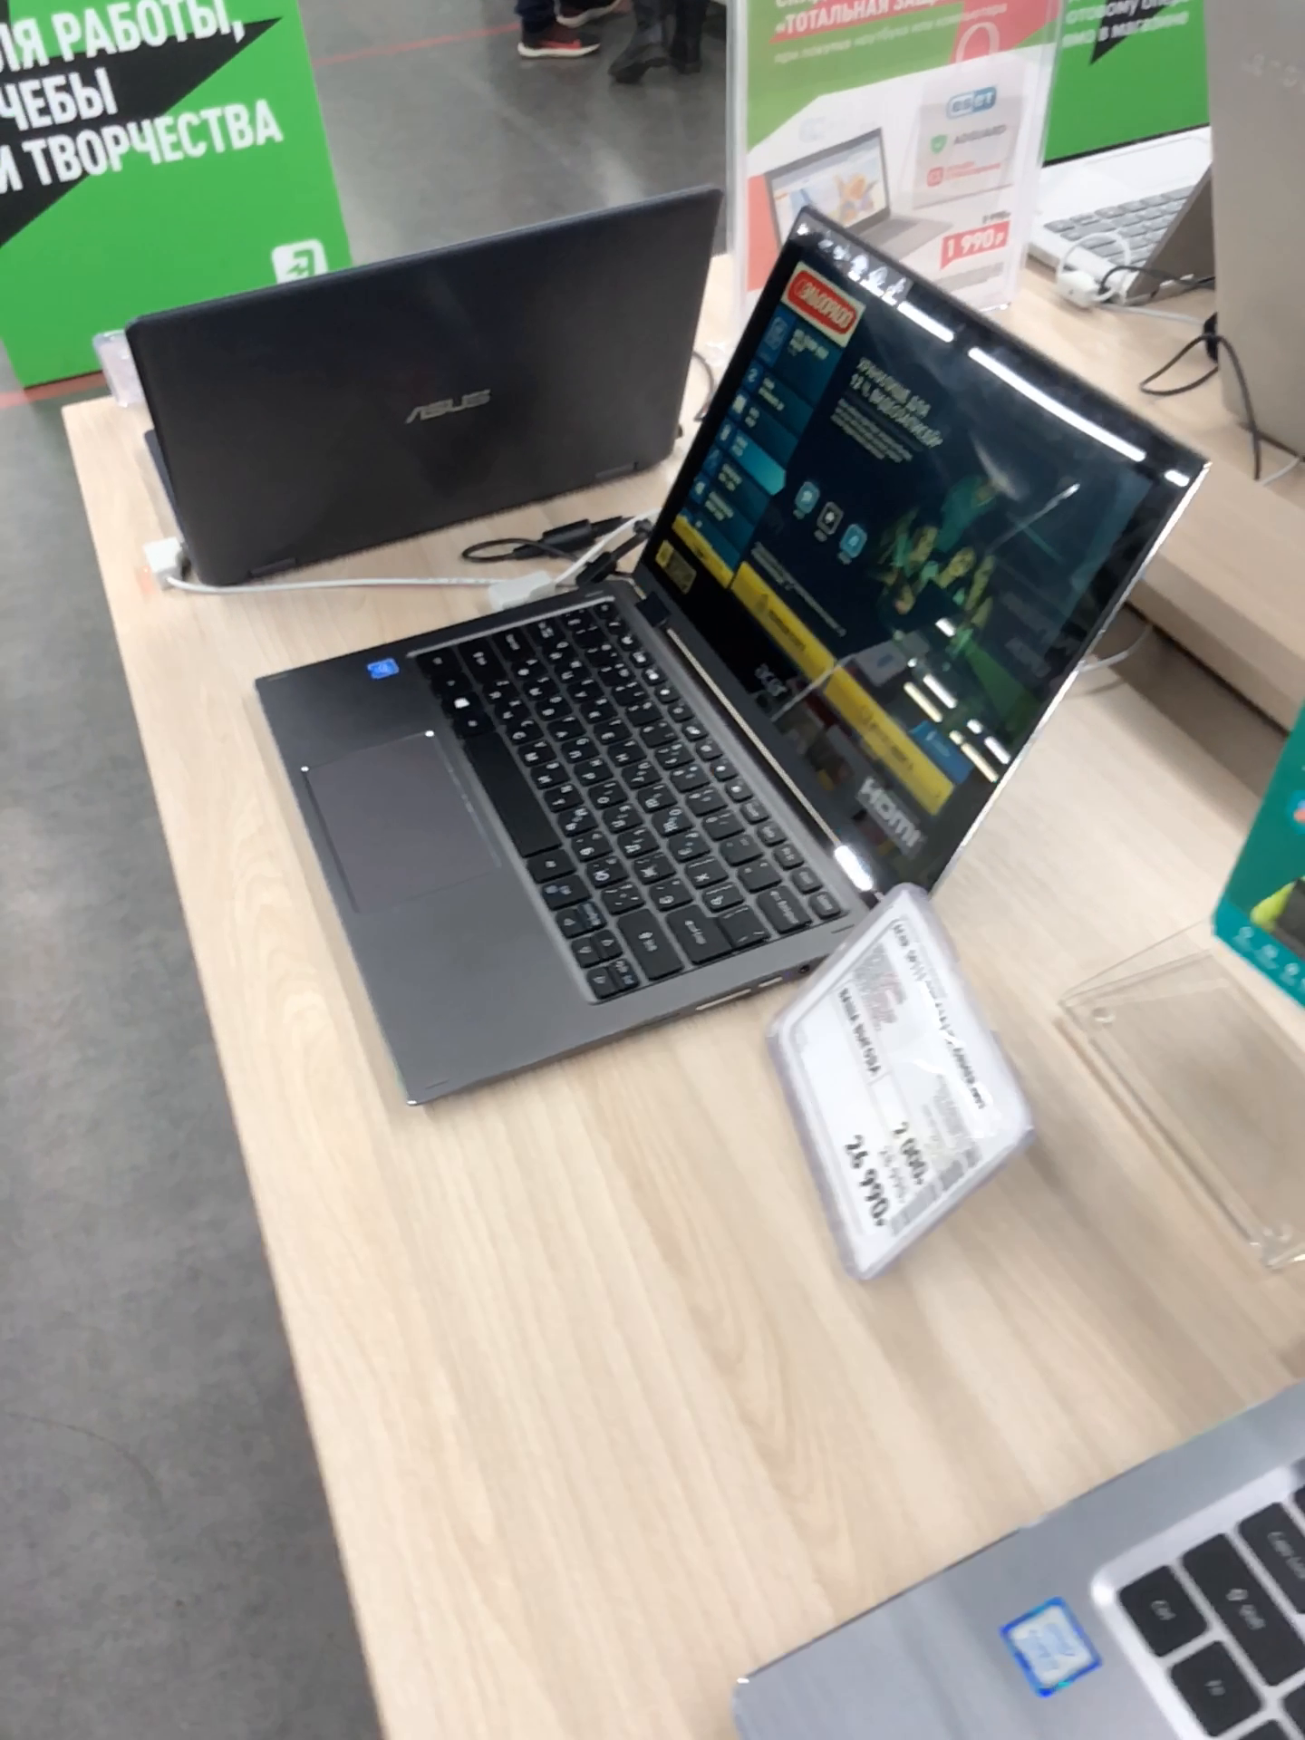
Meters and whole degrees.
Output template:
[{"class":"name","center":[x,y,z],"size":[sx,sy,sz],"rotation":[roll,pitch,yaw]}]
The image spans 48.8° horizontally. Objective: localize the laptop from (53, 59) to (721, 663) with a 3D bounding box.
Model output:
[{"class":"laptop","center":[-0.150,-0.301,0.805],"size":[0.275,0.174,0.288],"rotation":[-19,45,-14]}]

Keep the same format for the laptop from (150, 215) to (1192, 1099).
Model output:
[{"class":"laptop","center":[-0.009,-0.113,0.597],"size":[0.303,0.168,0.288],"rotation":[-18,44,-14]}]
